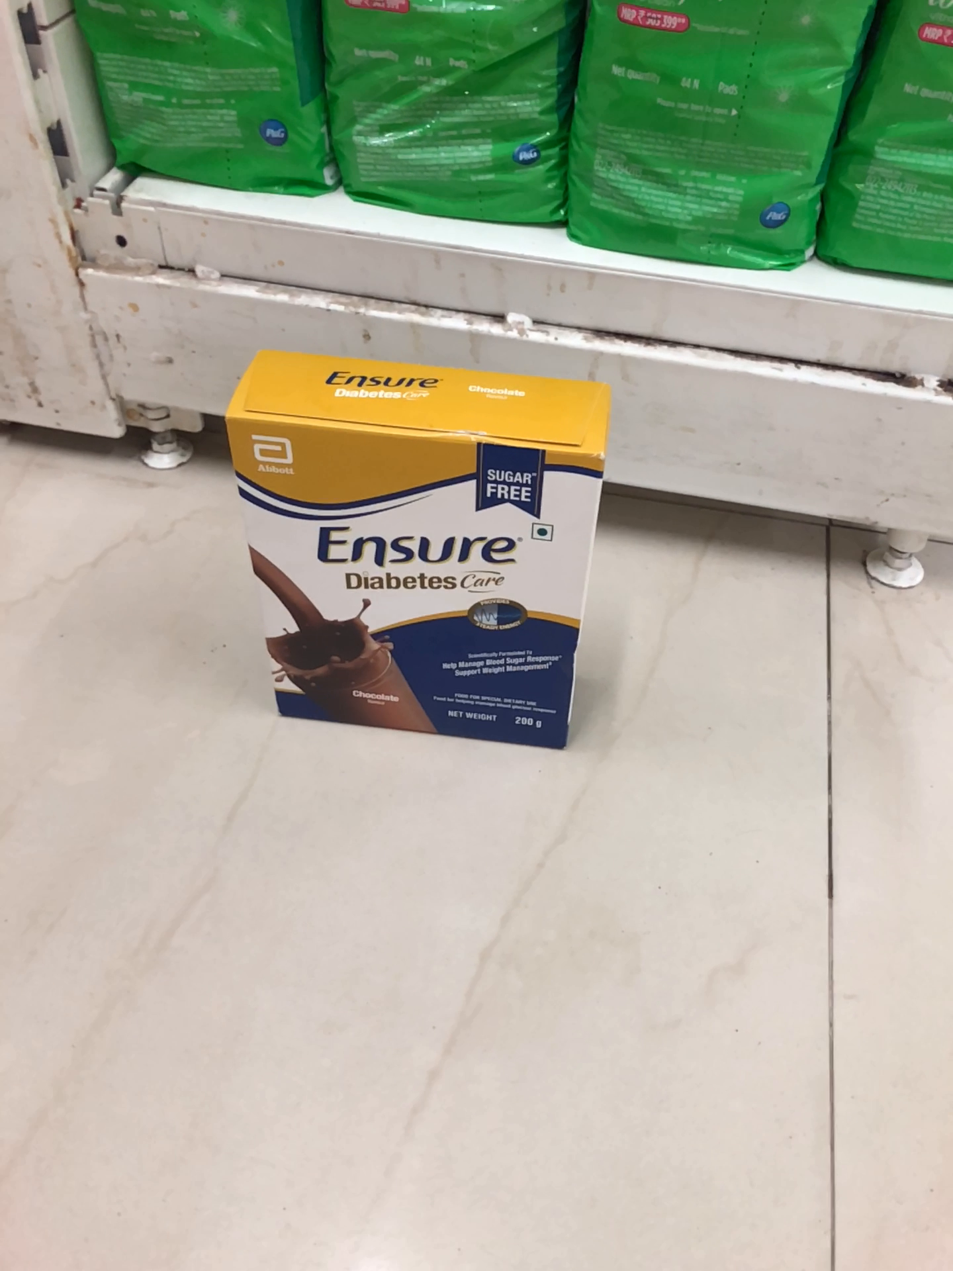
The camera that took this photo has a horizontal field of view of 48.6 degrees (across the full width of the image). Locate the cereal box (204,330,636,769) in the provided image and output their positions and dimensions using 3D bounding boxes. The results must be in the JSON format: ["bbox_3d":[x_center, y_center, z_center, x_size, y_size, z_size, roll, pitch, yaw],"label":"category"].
[{"bbox_3d":[-0.018,-0.026,0.421,0.140,0.169,0.050,7,47,6],"label":"cereal box"}]
